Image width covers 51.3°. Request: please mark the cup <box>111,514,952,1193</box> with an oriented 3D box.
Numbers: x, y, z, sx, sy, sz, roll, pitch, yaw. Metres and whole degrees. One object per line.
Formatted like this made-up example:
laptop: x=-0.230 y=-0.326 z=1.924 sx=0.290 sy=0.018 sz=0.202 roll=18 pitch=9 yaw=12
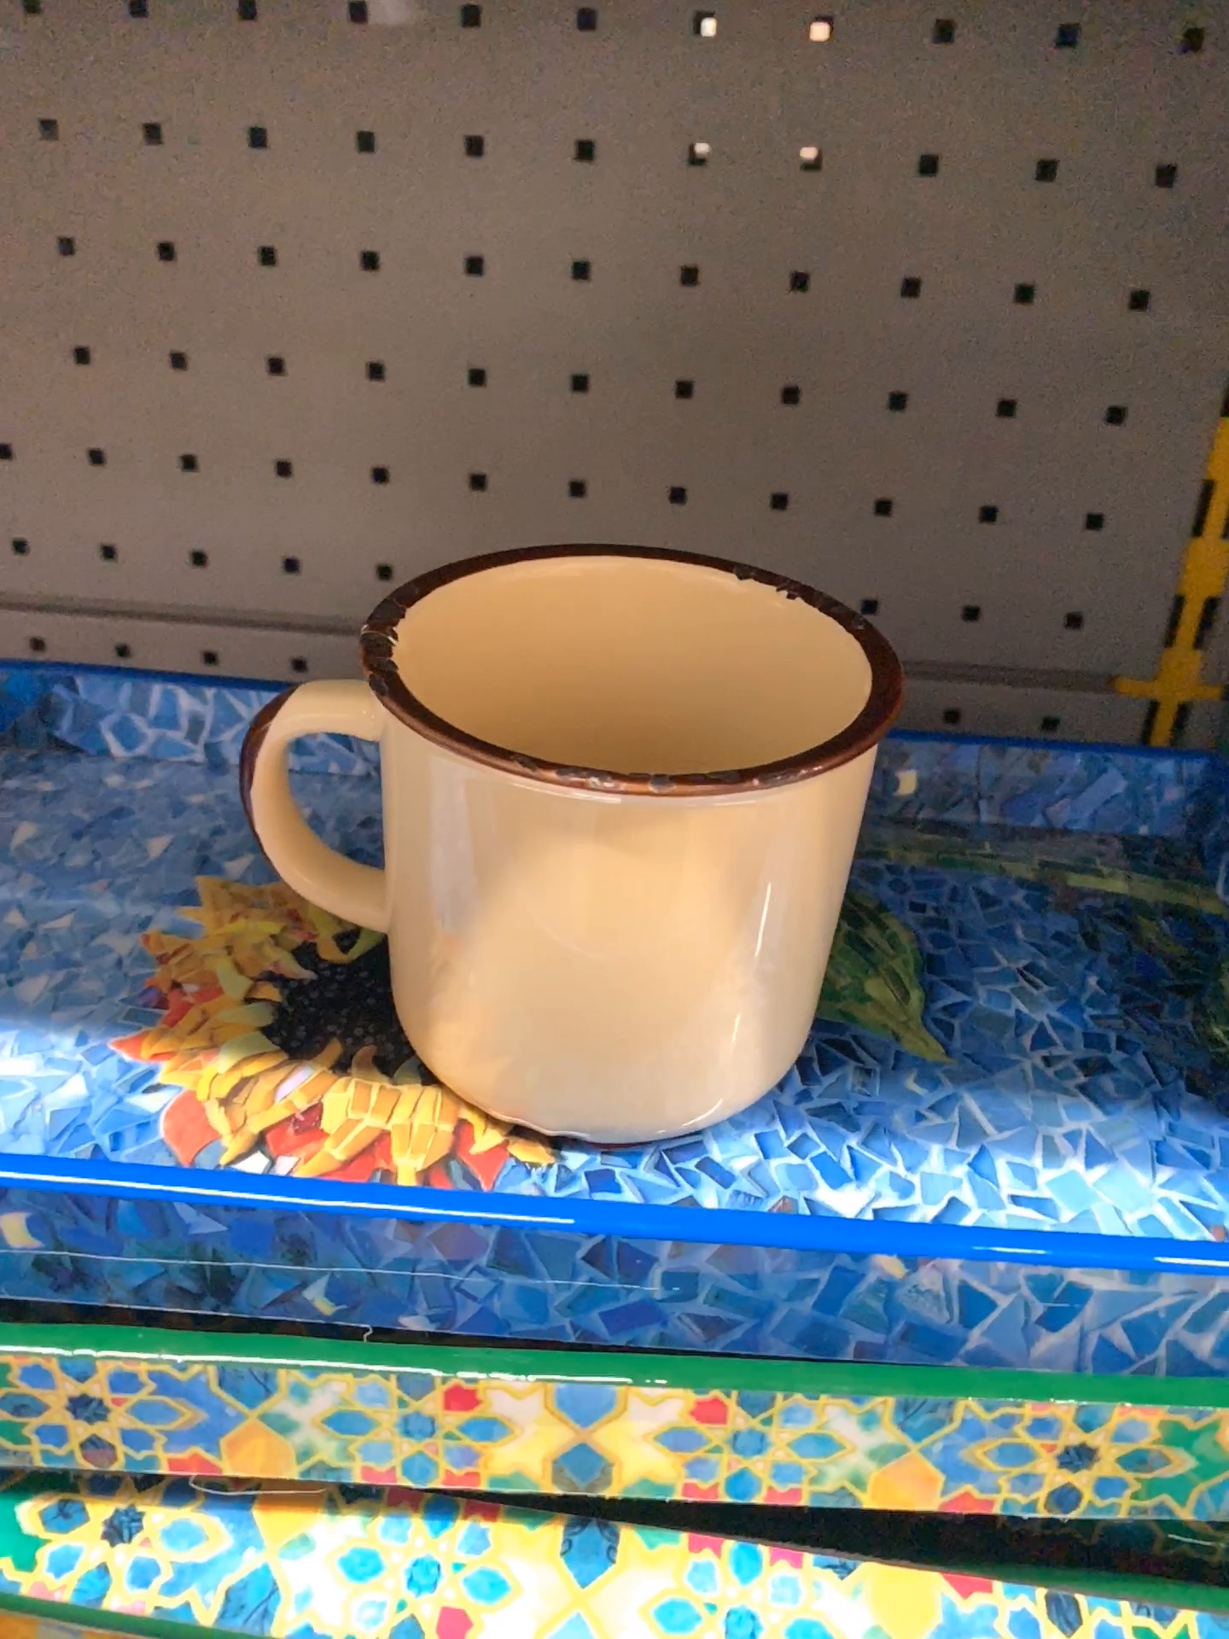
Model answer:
cup: x=-0.009 y=-0.001 z=0.222 sx=0.110 sy=0.070 sz=0.090 roll=6 pitch=30 yaw=3
